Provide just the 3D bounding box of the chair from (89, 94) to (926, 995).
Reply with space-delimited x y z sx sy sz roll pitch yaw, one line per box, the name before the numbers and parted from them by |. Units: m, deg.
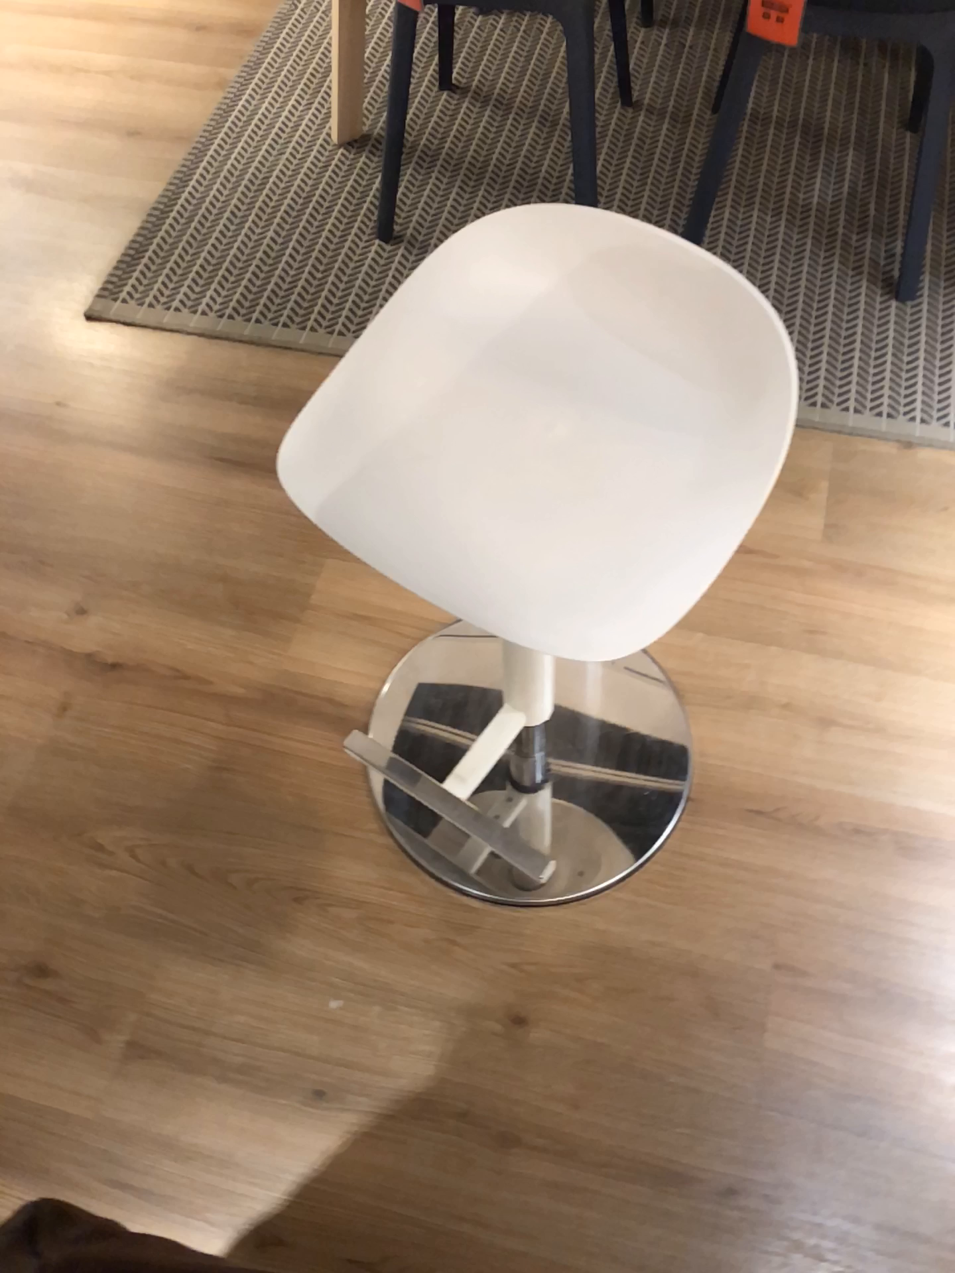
chair | 0.048 -0.037 1.062 0.440 0.699 0.451 28 63 19
